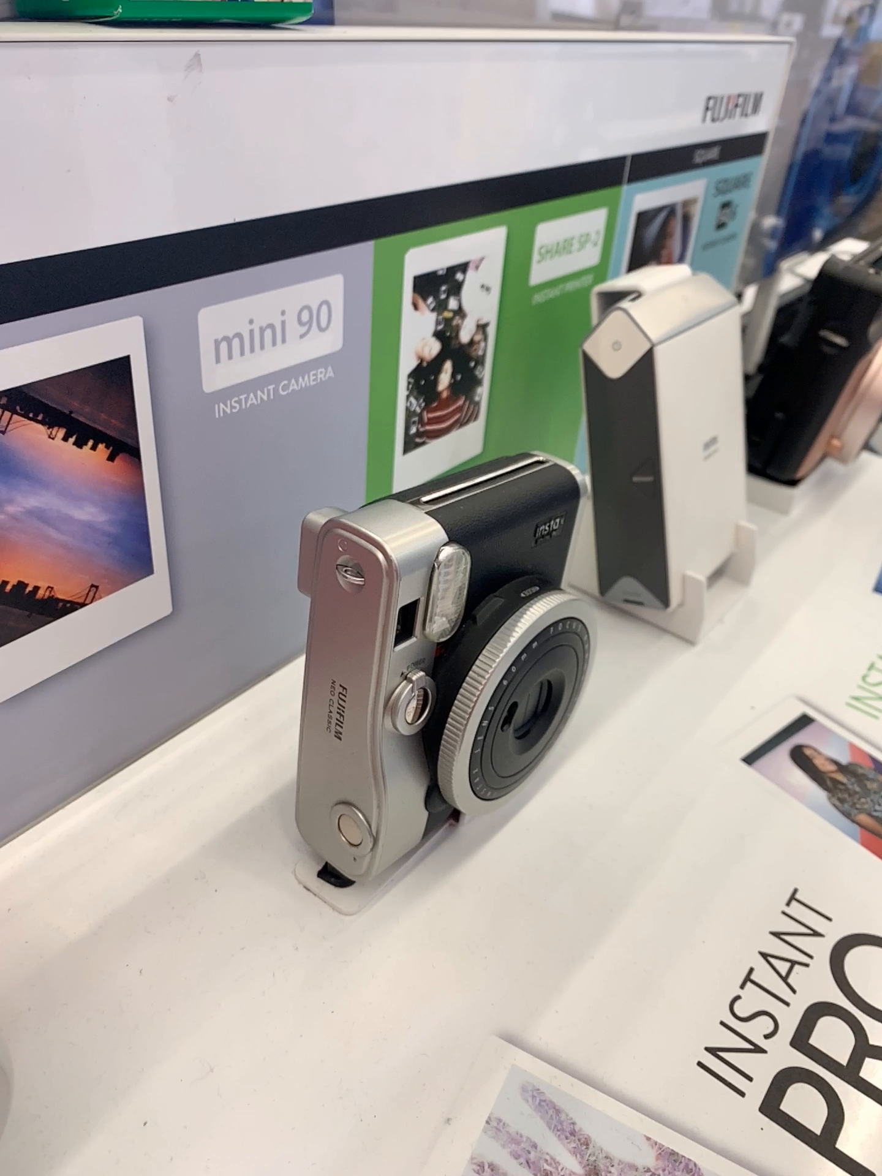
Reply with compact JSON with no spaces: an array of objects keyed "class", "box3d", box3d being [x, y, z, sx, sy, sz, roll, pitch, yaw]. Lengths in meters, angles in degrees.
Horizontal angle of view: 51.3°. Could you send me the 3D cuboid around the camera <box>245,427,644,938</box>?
[{"class":"camera","box3d":[0.000,0.022,0.270,0.050,0.109,0.101,30,36,32]}]
